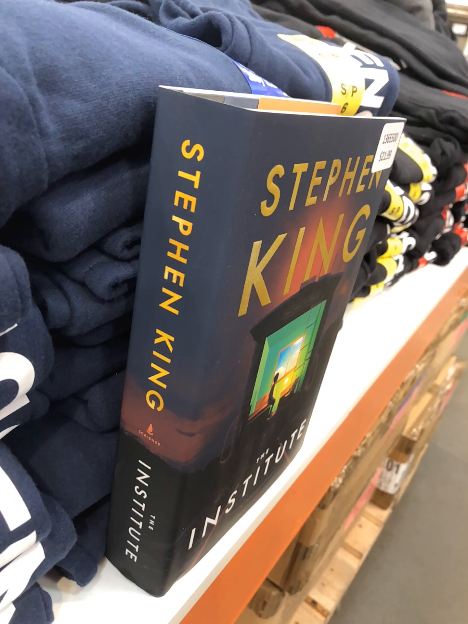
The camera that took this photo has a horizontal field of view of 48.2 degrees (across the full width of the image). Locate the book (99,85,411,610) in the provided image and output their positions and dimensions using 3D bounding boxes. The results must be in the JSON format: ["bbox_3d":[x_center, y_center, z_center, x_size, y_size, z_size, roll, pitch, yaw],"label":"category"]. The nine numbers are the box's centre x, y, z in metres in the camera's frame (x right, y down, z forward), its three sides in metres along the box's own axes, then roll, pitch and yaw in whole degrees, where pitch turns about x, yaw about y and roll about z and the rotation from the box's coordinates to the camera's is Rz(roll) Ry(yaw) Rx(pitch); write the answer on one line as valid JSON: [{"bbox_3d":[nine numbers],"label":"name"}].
[{"bbox_3d":[0.014,0.010,0.283,0.050,0.229,0.167,24,28,26],"label":"book"}]
